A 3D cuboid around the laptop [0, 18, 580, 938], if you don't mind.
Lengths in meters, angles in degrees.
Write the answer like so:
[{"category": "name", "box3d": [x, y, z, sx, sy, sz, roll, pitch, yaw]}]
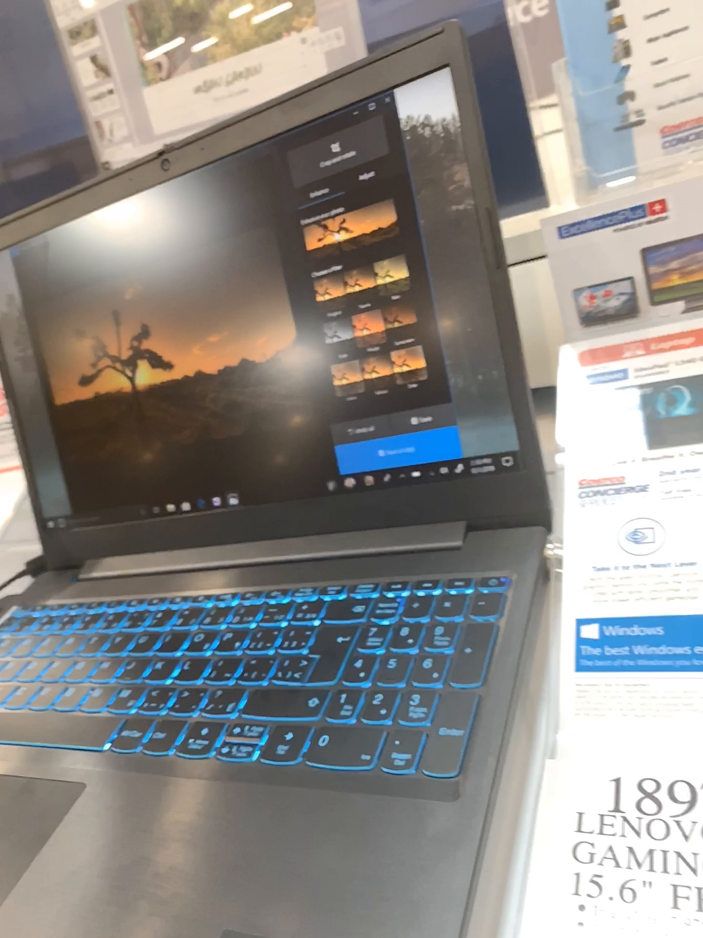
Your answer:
[{"category": "laptop", "box3d": [-0.114, 0.000, 0.317, 0.341, 0.214, 0.329, -8, 28, 27]}]
